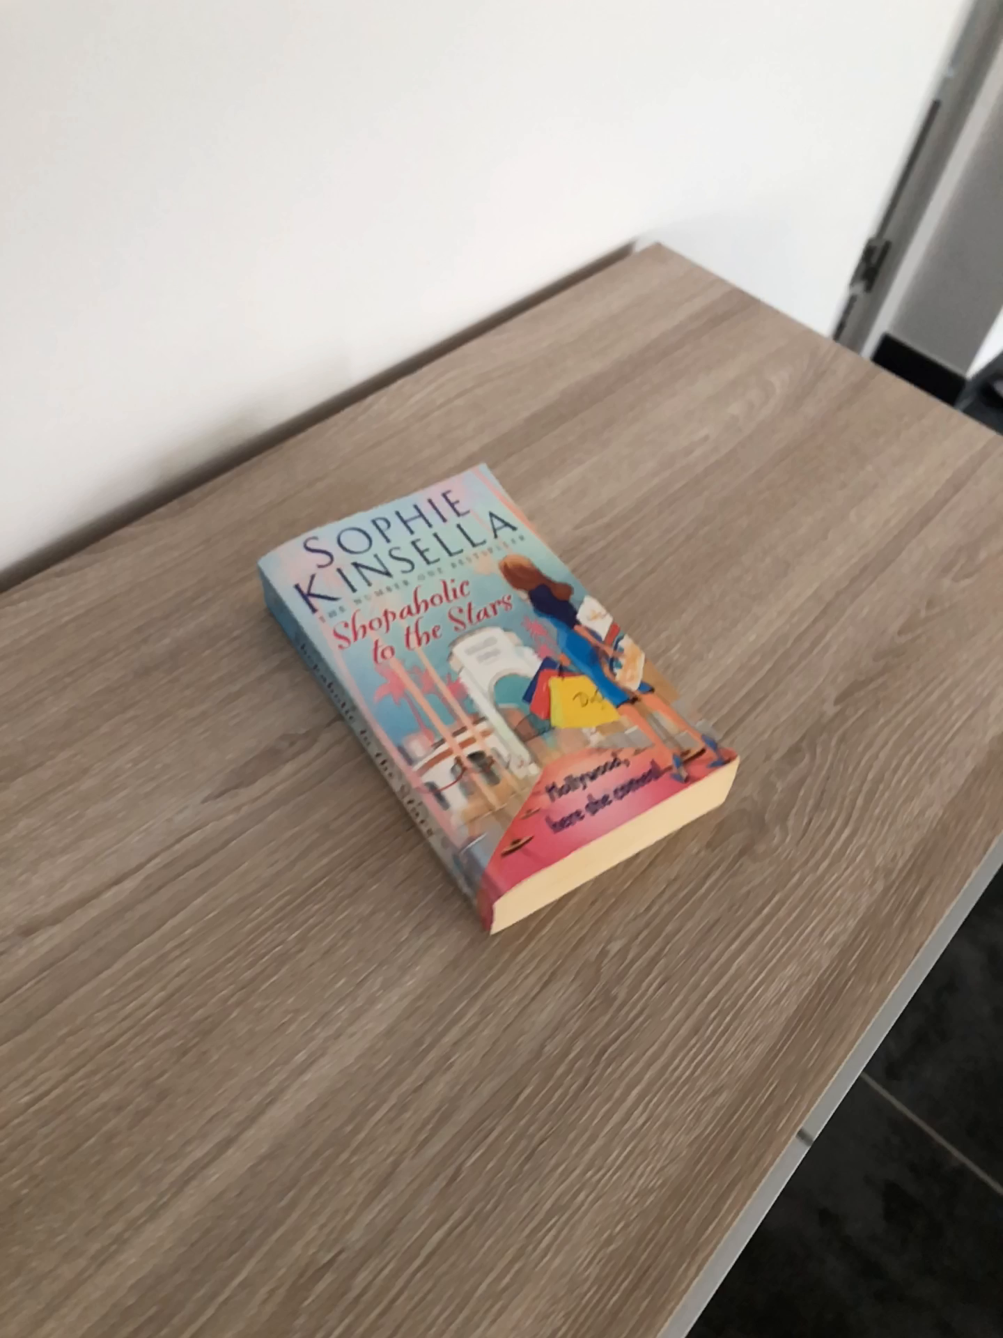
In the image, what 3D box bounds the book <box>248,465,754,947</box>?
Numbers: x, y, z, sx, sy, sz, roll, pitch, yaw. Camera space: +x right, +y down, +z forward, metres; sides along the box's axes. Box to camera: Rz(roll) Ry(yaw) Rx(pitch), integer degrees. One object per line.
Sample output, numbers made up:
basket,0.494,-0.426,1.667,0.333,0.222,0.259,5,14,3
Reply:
book,-0.007,0.003,0.494,0.131,0.040,0.200,-24,59,-26
